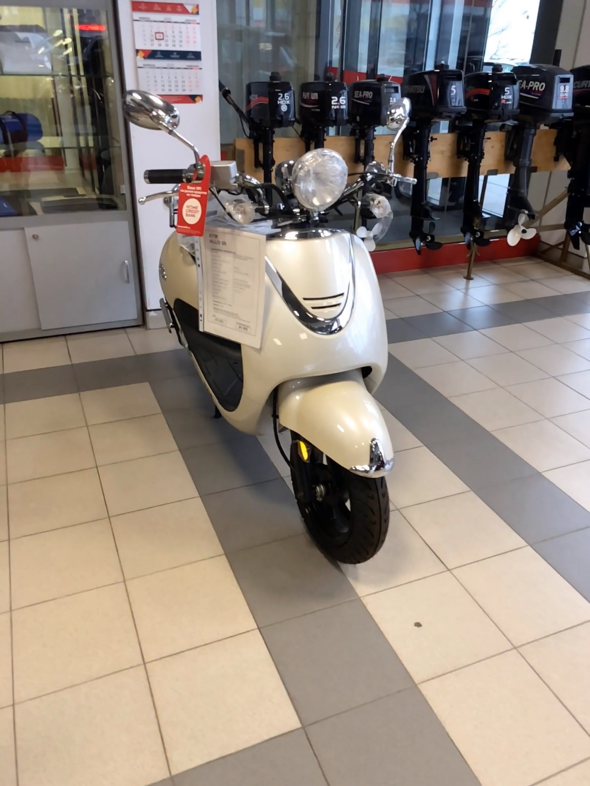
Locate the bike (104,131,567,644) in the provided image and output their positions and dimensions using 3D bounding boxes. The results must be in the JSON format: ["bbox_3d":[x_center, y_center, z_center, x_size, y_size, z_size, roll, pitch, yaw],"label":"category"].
[{"bbox_3d":[-0.077,-0.246,2.254,0.805,0.963,1.690,-9,32,-20],"label":"bike"}]
